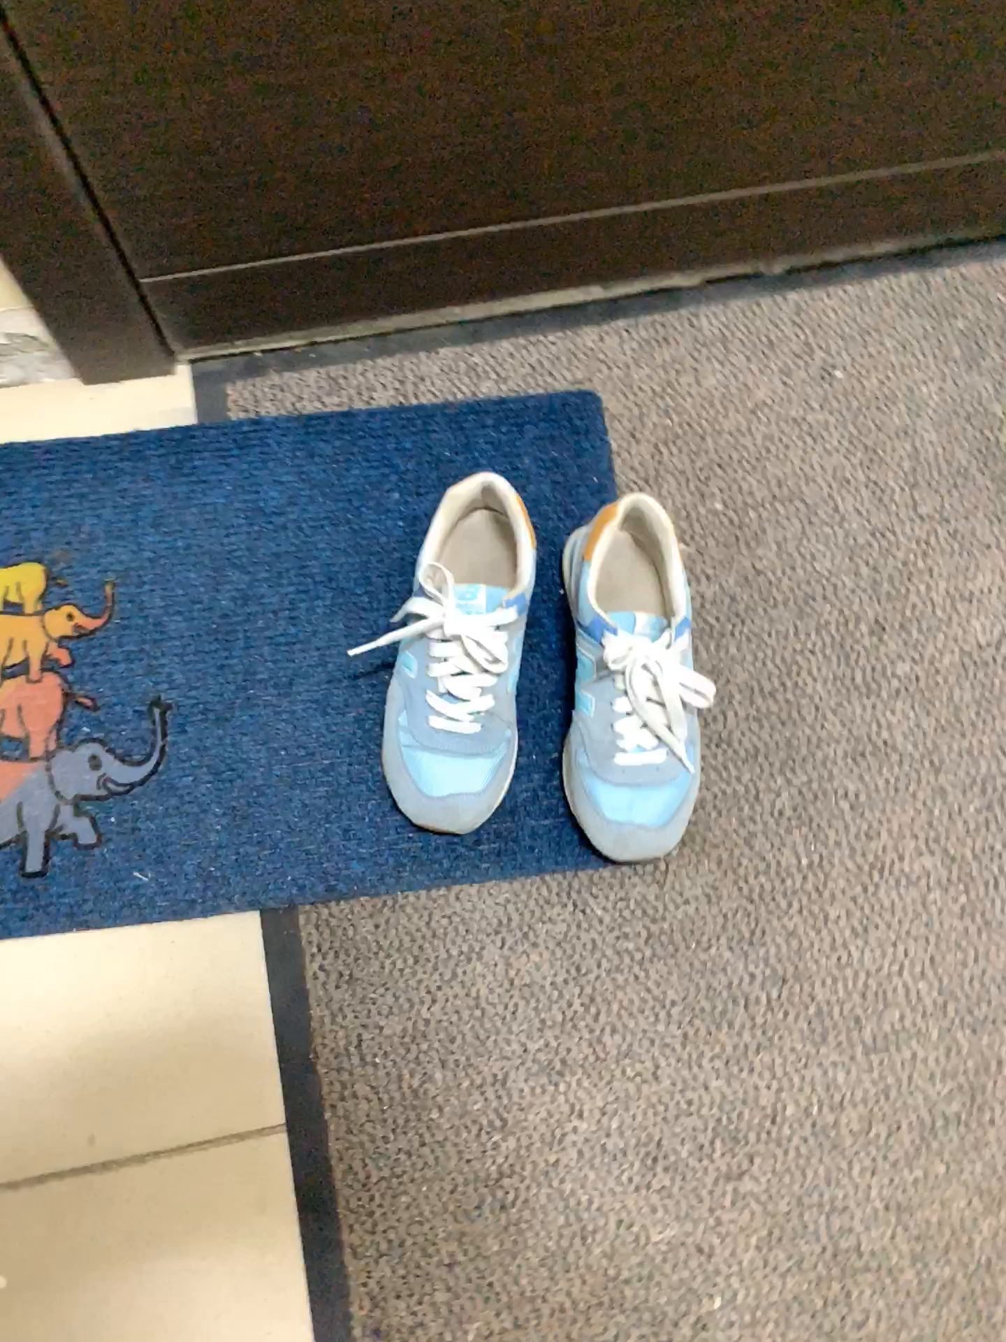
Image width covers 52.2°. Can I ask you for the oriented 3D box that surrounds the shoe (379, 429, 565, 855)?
[{"bbox_3d":[-0.024,-0.015,0.725,0.080,0.140,0.260,10,72,-3],"label":"shoe"}]

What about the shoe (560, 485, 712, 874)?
[{"bbox_3d":[0.087,0.009,0.725,0.090,0.120,0.250,0,72,2],"label":"shoe"}]
